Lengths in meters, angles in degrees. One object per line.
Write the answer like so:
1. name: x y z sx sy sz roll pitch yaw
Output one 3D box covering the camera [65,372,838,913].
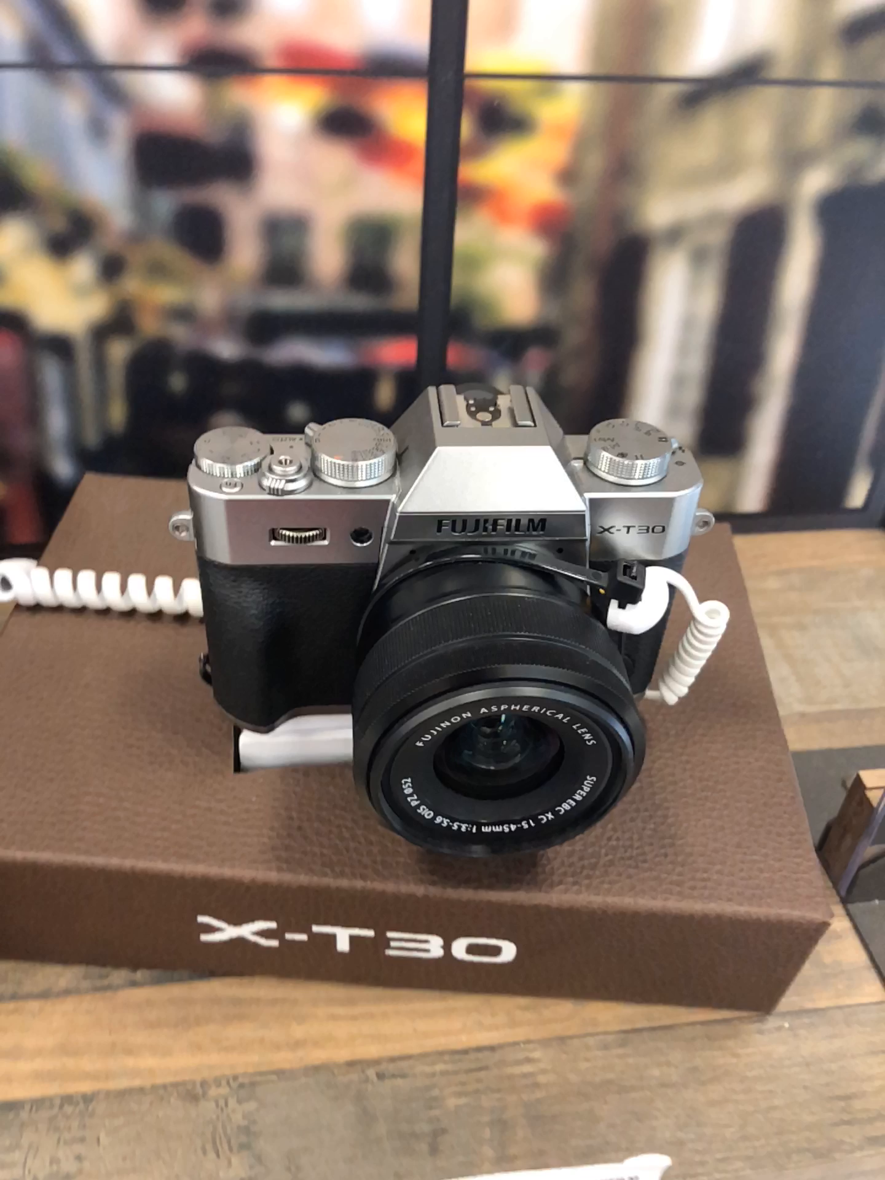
1. camera: -0.001 0.010 0.227 0.130 0.080 0.090 0 40 -5
